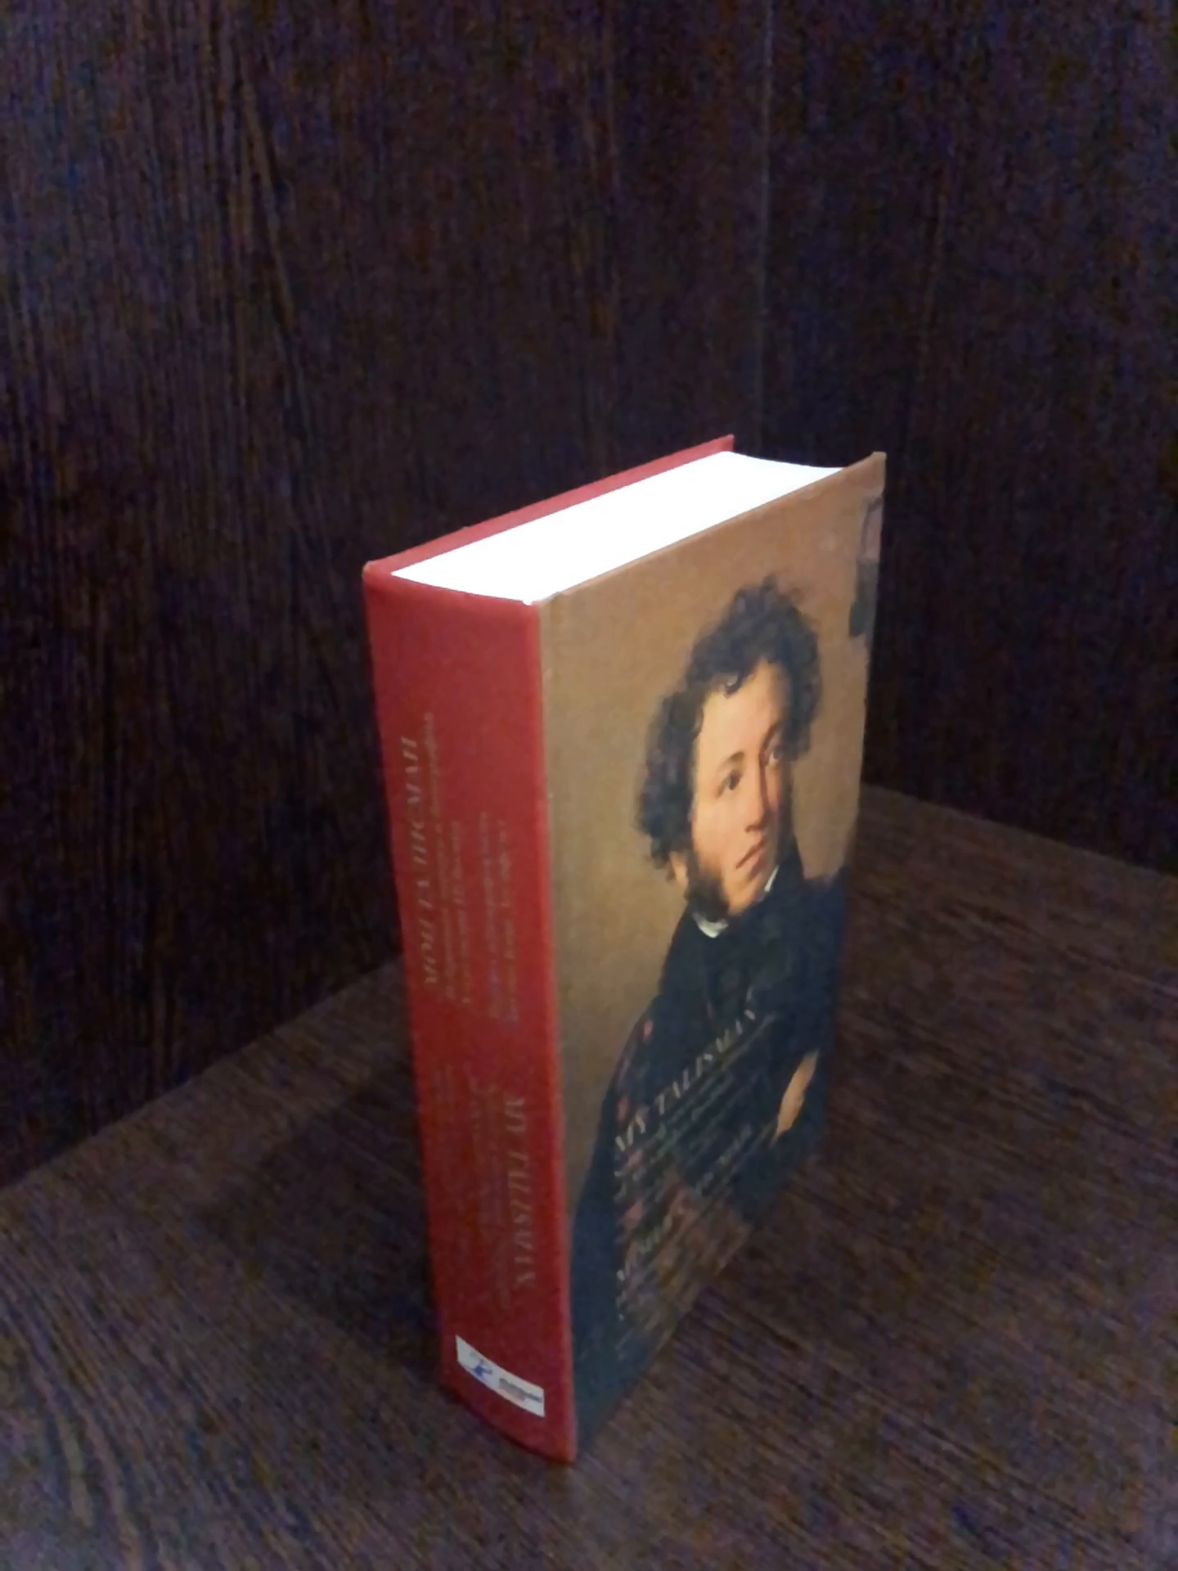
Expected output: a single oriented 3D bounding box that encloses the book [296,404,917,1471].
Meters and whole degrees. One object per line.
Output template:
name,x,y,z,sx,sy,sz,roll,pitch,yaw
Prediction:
book,0.011,0.028,0.306,0.054,0.201,0.137,18,32,31
